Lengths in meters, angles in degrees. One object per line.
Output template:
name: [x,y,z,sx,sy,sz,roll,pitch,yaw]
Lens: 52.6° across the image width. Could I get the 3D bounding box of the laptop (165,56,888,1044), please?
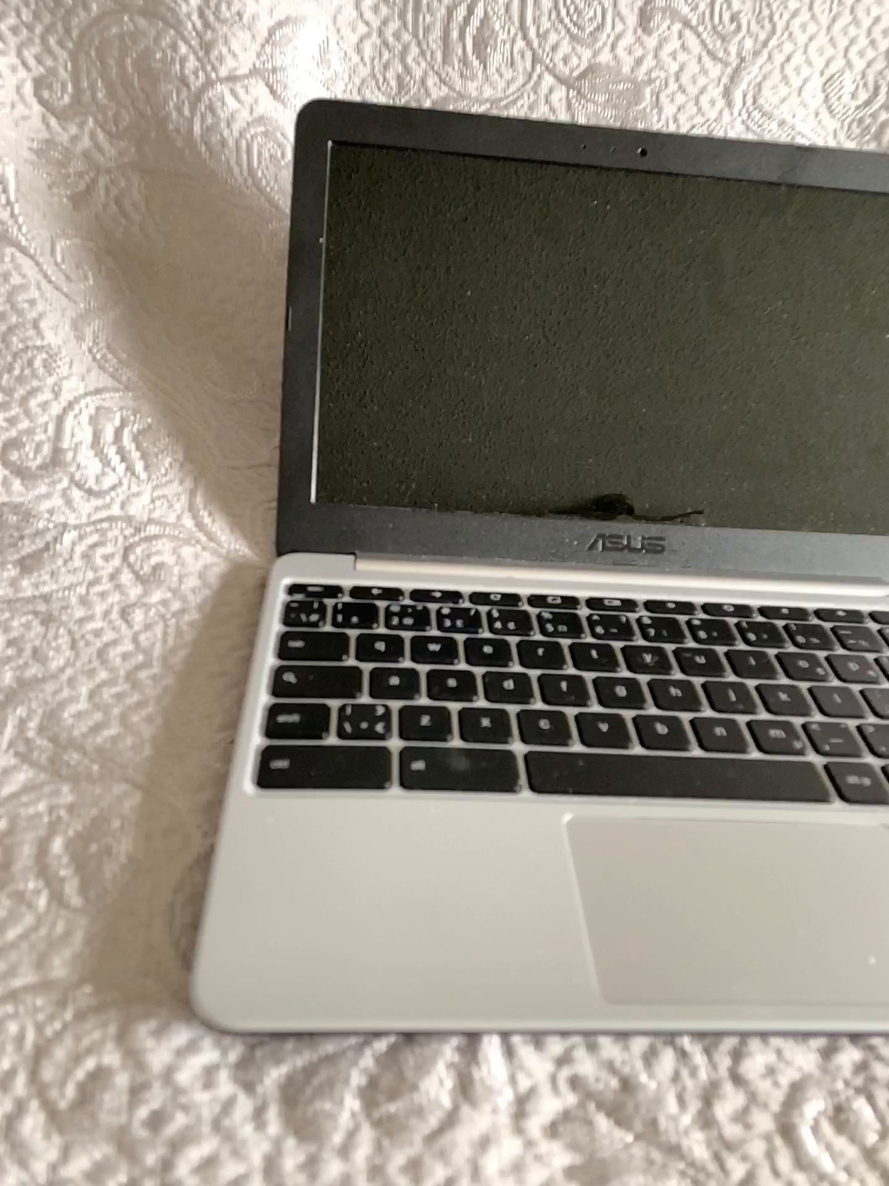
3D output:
laptop: [0.084,-0.041,0.295,0.288,0.127,0.288,4,40,-13]
